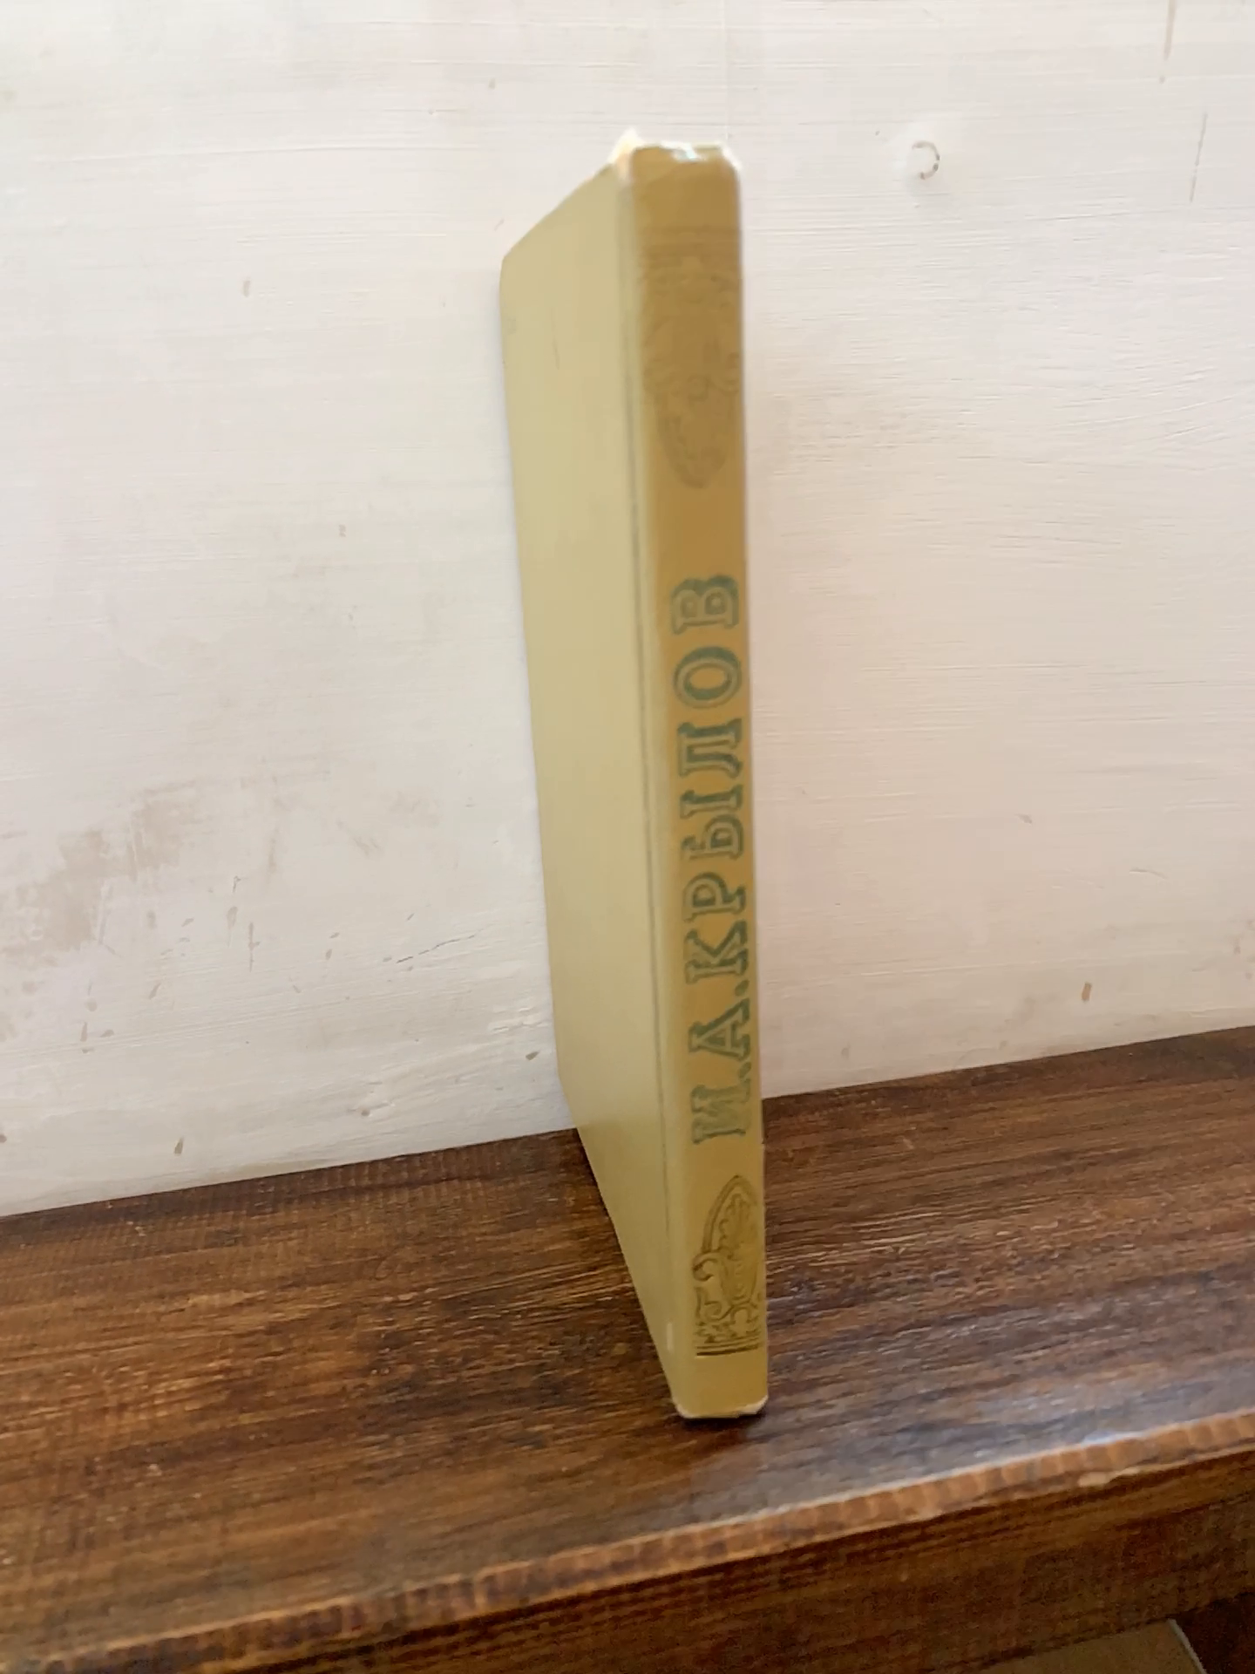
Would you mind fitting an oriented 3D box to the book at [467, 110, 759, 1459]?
[{"bbox_3d":[-0.006,-0.012,0.255,0.020,0.205,0.132,-6,17,-11],"label":"book"}]
